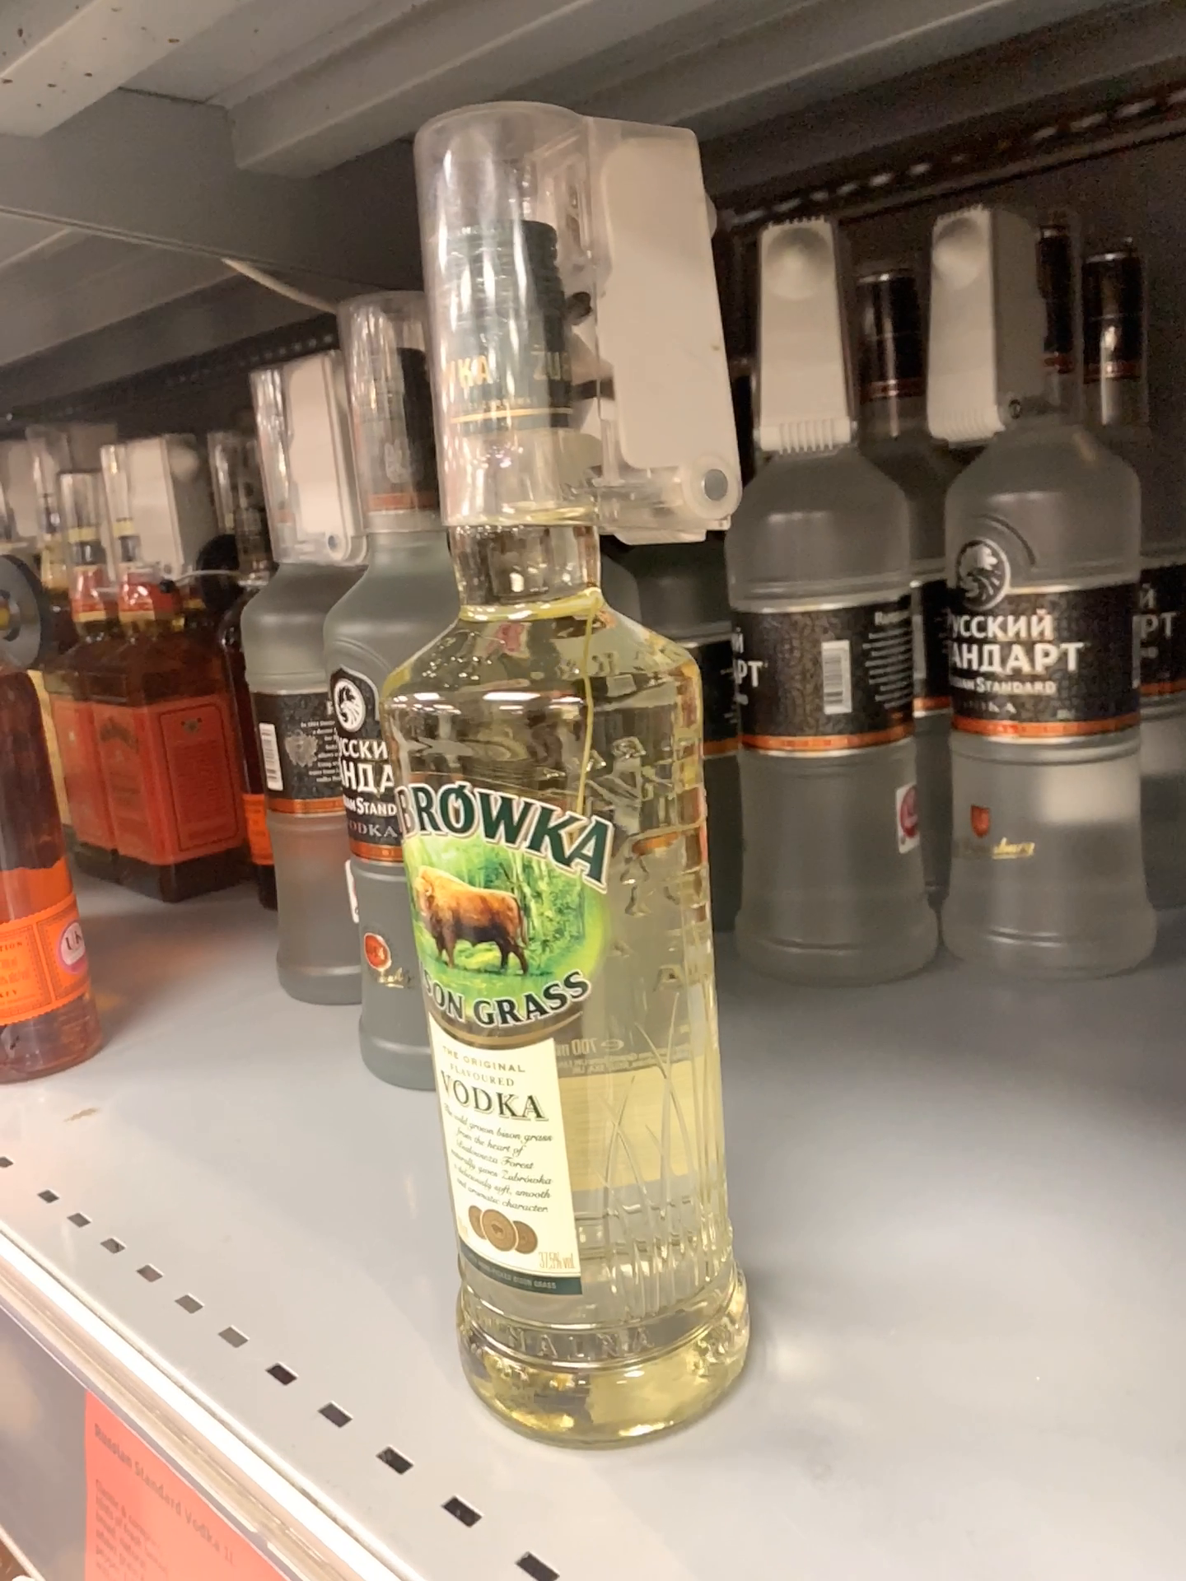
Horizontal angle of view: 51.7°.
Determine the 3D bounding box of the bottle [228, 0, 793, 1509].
[{"bbox_3d":[-0.013,-0.002,0.288,0.076,0.303,0.069,5,15,42],"label":"bottle"}]
